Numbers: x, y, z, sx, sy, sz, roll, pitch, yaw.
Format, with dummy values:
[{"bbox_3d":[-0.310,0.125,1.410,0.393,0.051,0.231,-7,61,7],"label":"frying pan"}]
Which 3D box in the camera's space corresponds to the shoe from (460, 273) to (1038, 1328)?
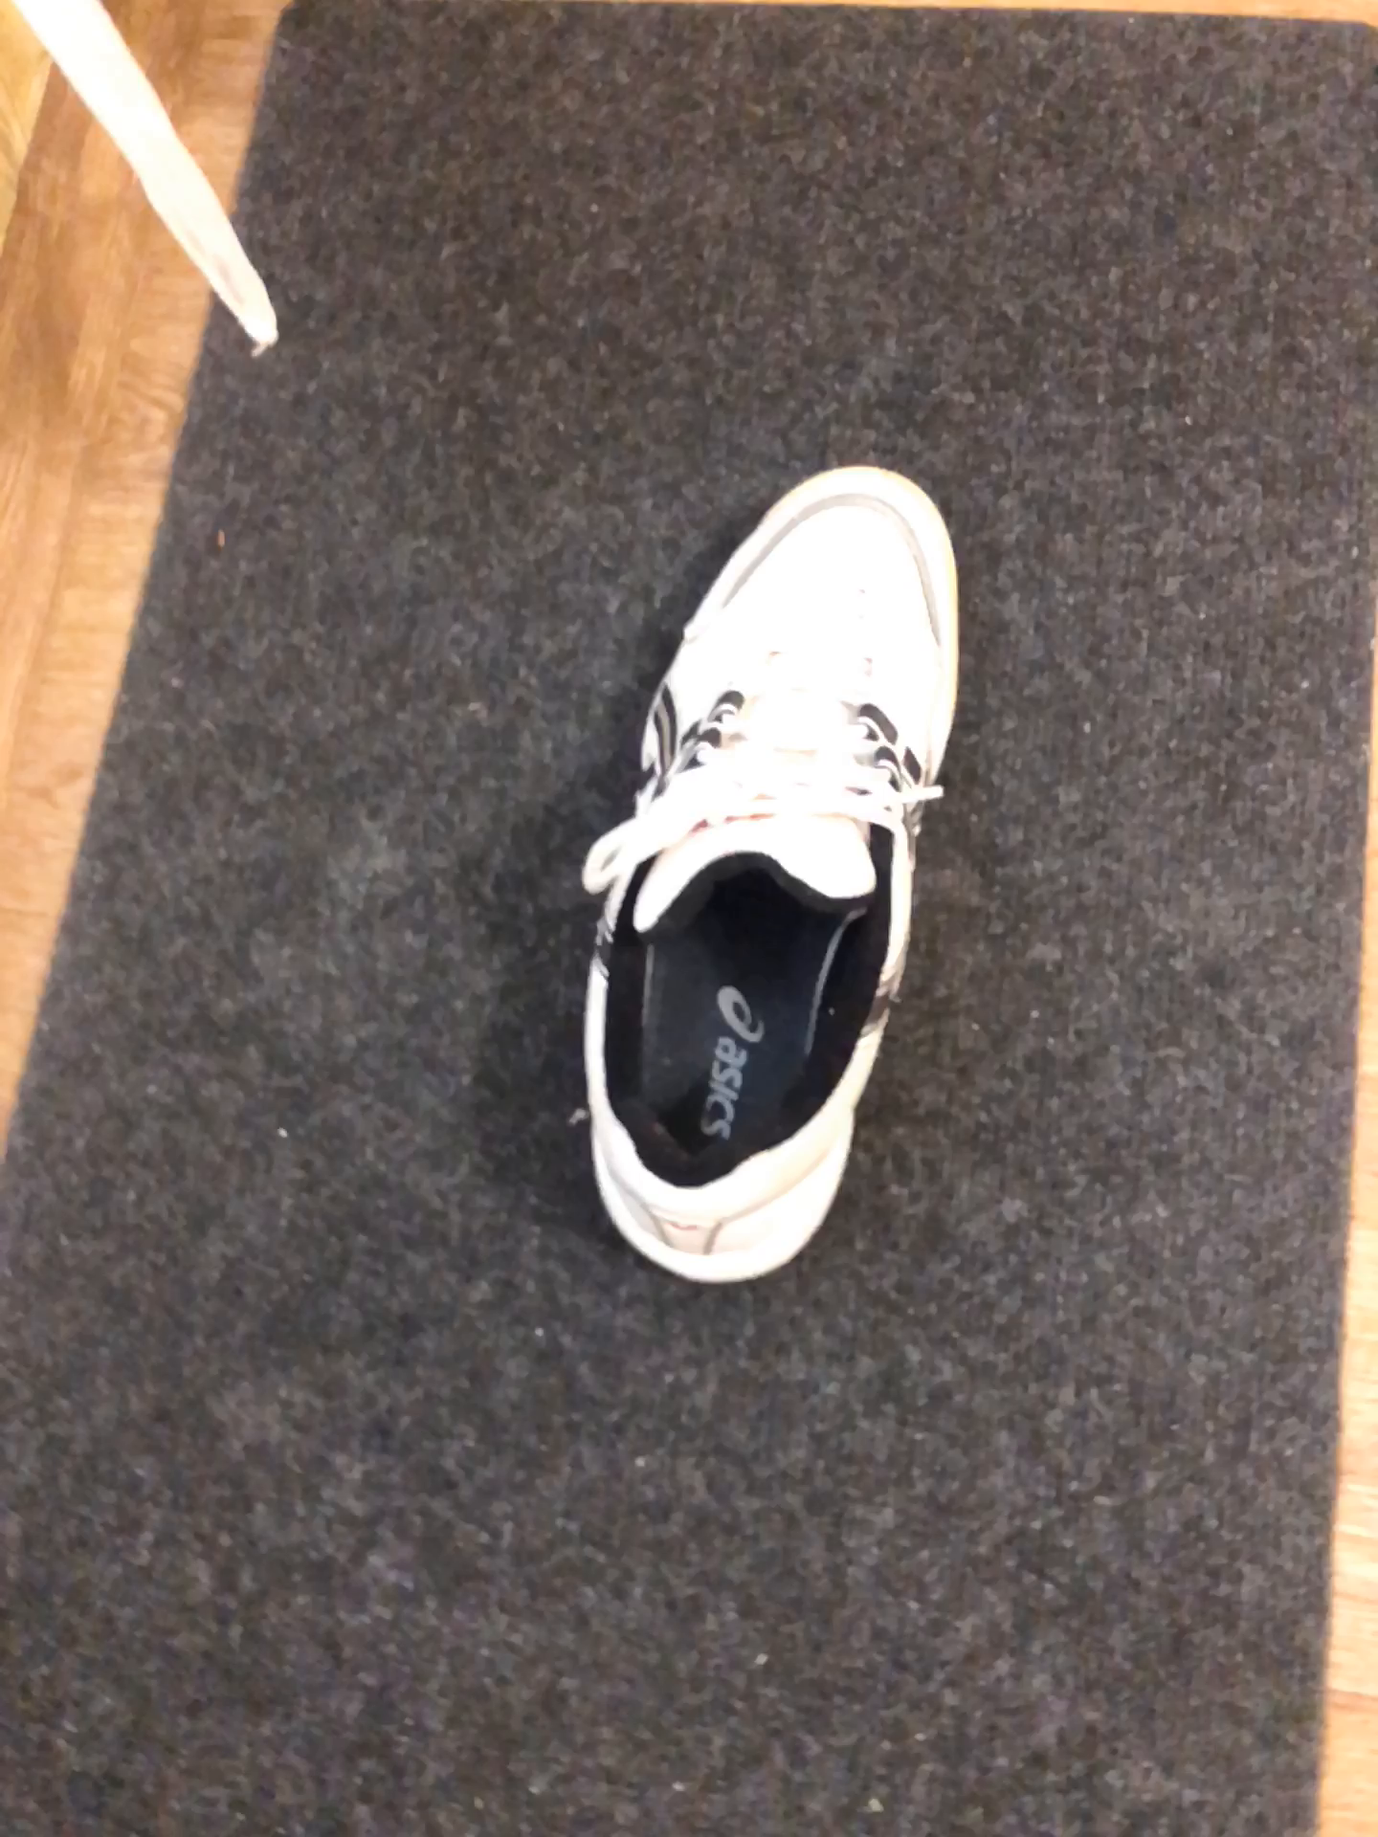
[{"bbox_3d":[0.028,-0.032,0.469,0.100,0.110,0.289,10,77,10],"label":"shoe"}]
